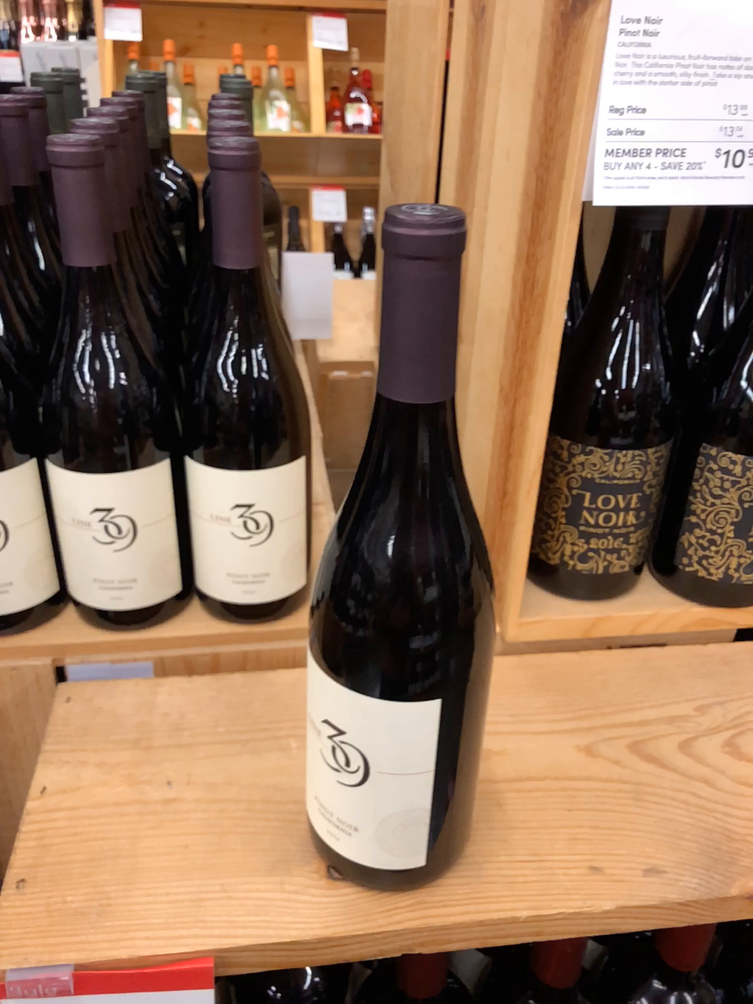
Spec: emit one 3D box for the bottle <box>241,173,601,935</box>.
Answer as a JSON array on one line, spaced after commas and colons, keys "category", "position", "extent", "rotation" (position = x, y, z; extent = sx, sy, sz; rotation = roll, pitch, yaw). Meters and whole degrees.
[{"category": "bottle", "position": [0.009, 0.029, 0.331], "extent": [0.080, 0.283, 0.080], "rotation": [2, 29, -1]}]
